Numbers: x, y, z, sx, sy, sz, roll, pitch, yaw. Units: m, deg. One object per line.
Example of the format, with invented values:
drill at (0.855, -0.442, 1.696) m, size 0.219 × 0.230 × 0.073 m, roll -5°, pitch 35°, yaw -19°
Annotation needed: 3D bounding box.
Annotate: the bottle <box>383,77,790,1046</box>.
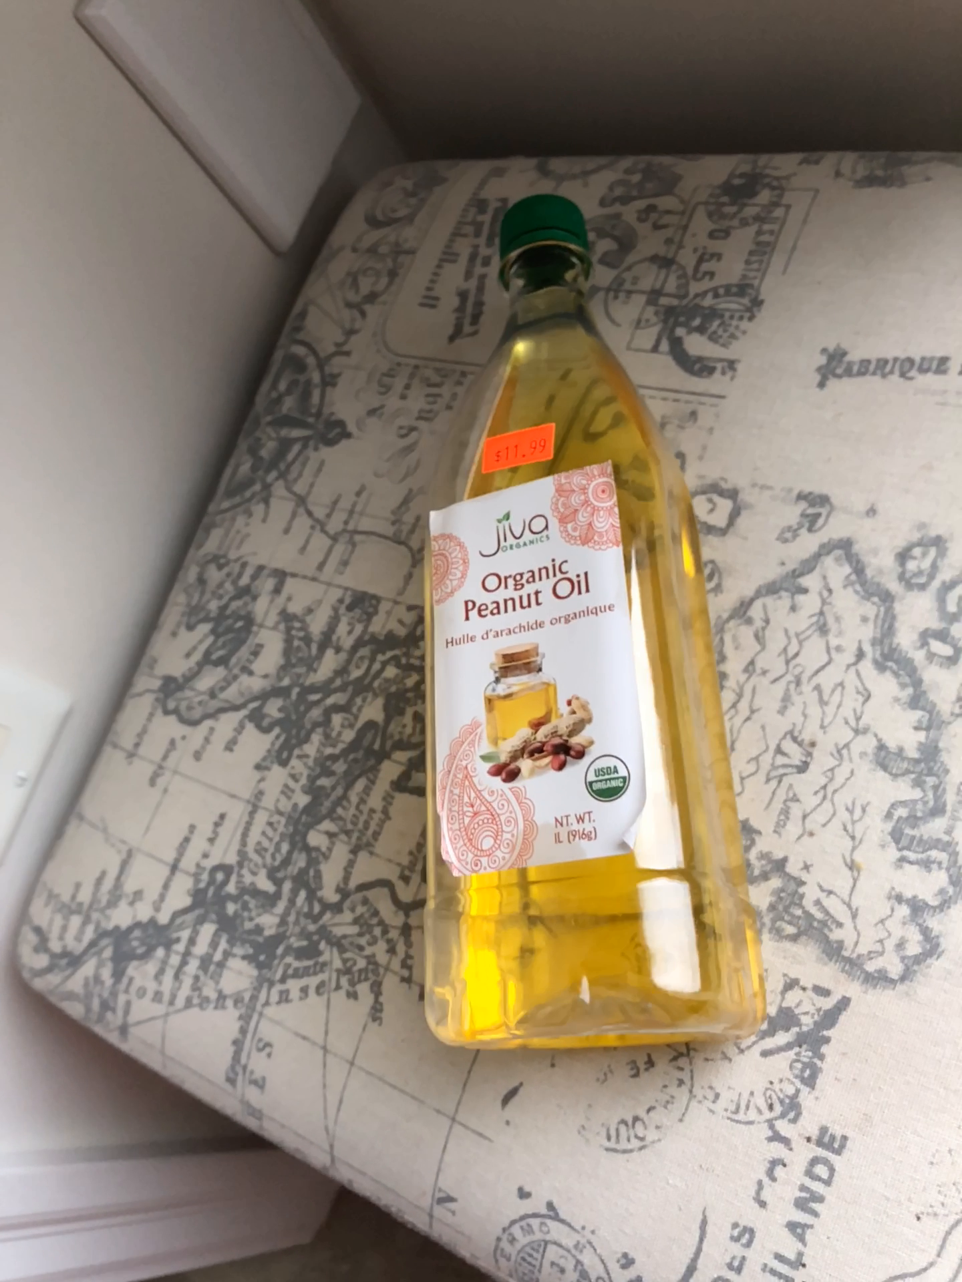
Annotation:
bottle at (0.025, -0.026, 0.320) m, size 0.080 × 0.070 × 0.270 m, roll -12°, pitch 67°, yaw 20°
